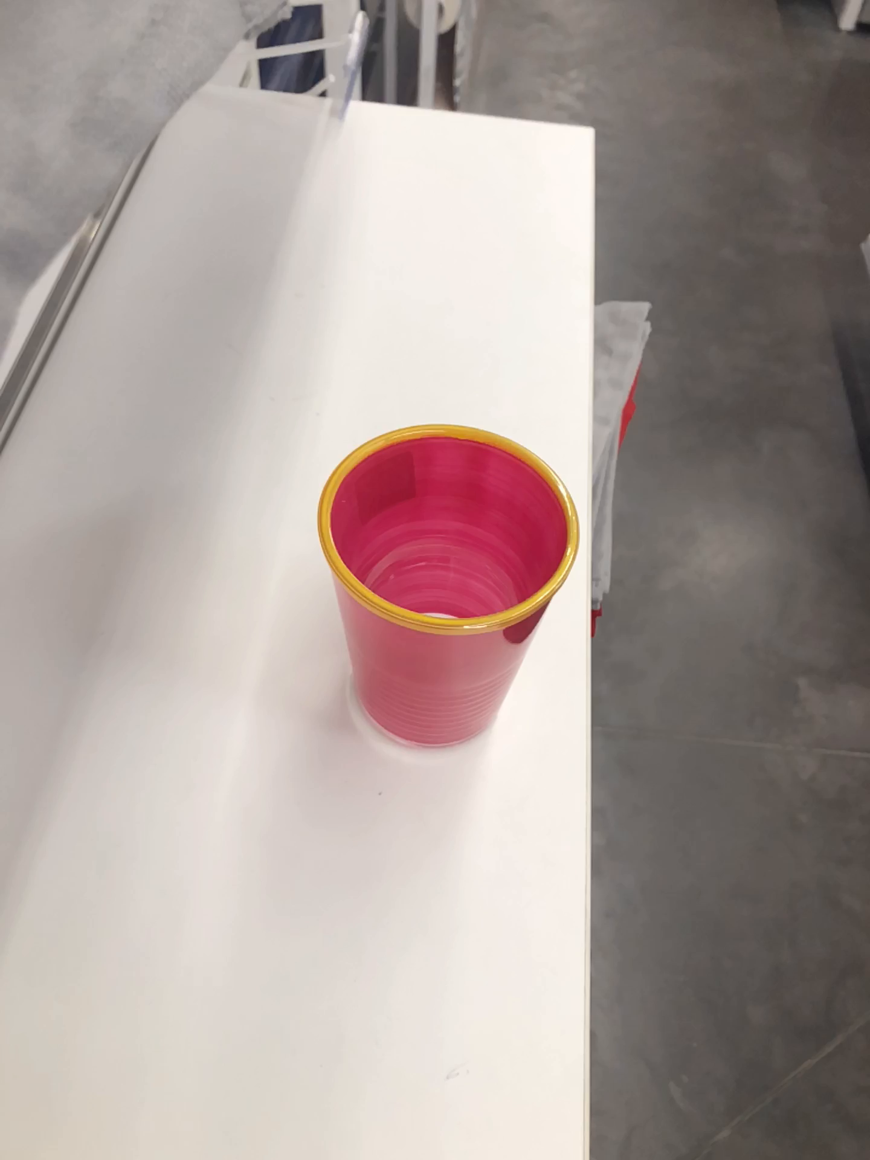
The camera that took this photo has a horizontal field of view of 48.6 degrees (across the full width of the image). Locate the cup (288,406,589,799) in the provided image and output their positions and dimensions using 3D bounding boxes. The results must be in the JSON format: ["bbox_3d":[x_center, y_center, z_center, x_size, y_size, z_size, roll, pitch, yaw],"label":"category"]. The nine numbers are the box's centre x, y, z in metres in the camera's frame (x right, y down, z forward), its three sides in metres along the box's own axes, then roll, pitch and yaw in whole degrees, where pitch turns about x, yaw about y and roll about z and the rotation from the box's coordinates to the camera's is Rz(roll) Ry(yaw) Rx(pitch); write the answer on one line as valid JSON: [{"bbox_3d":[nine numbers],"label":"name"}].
[{"bbox_3d":[0.002,0.010,0.329,0.079,0.094,0.085,2,55,-3],"label":"cup"}]
